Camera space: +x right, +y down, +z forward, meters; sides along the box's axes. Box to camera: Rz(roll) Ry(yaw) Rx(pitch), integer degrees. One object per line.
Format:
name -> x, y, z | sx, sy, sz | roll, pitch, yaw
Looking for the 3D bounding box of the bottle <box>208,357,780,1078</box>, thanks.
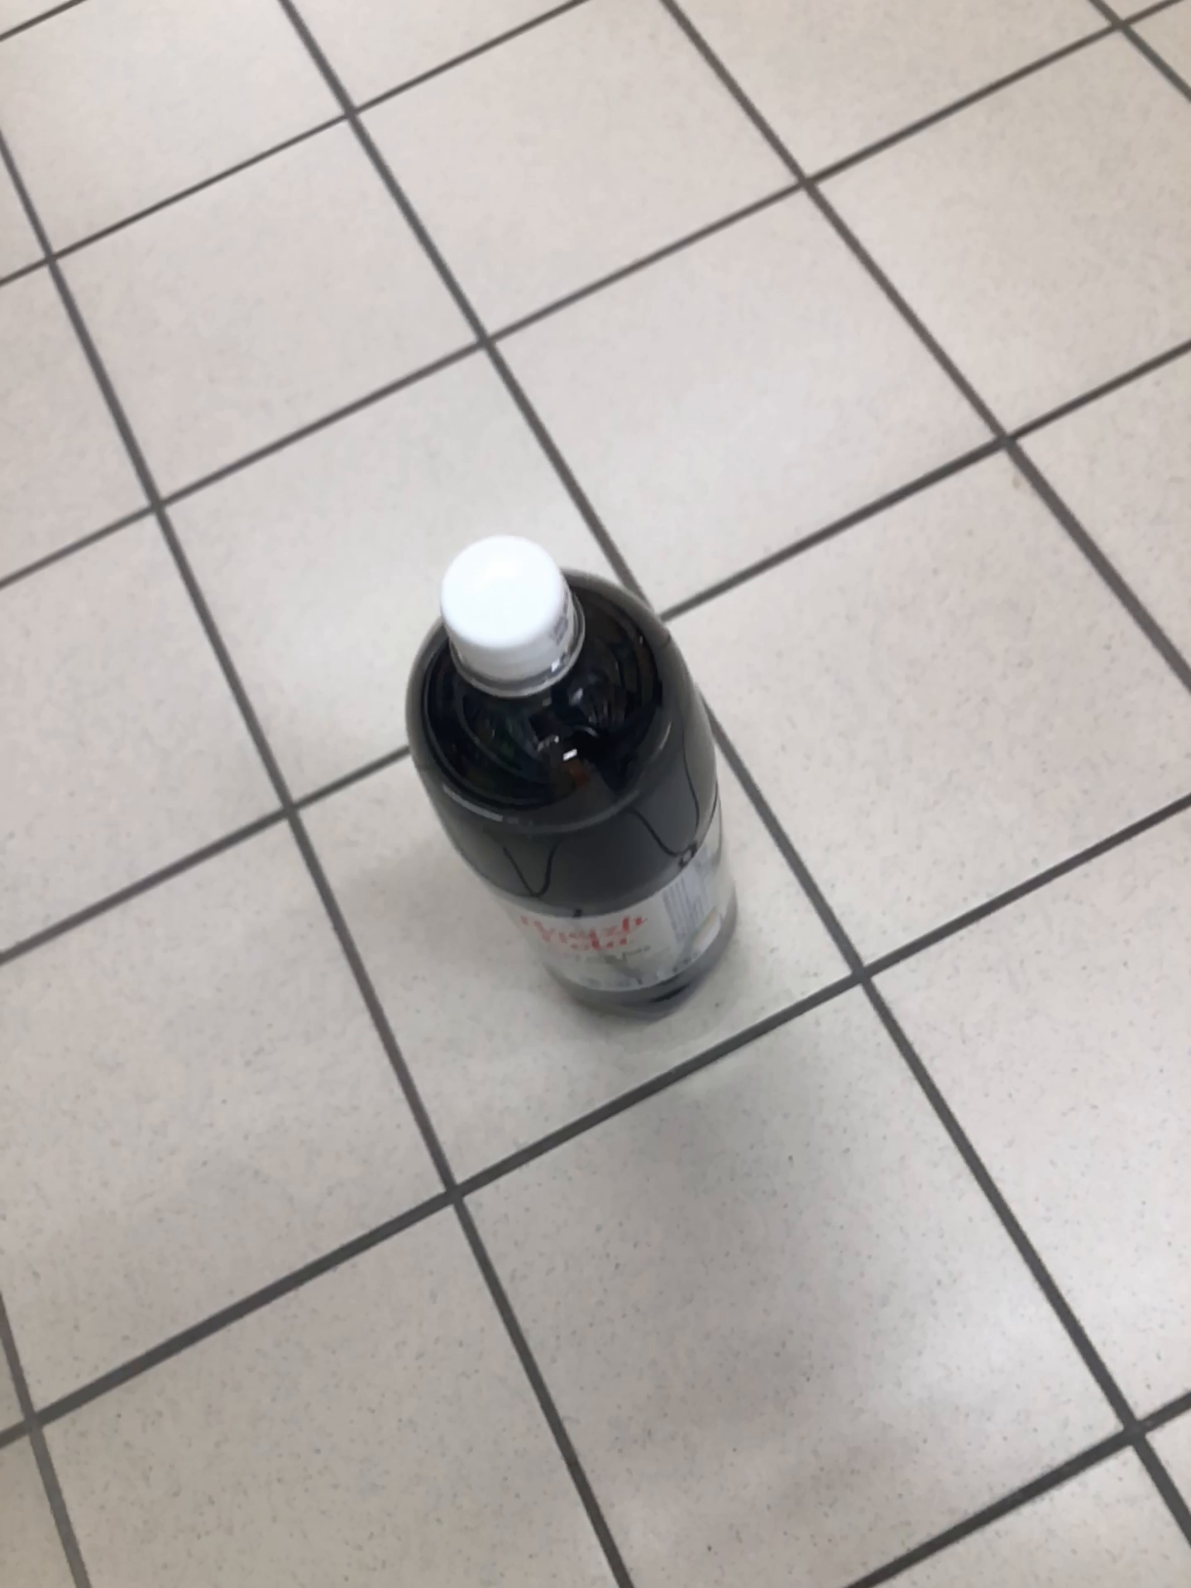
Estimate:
bottle -> -0.004, 0.007, 0.456 | 0.100, 0.319, 0.090 | 32, 77, 18
